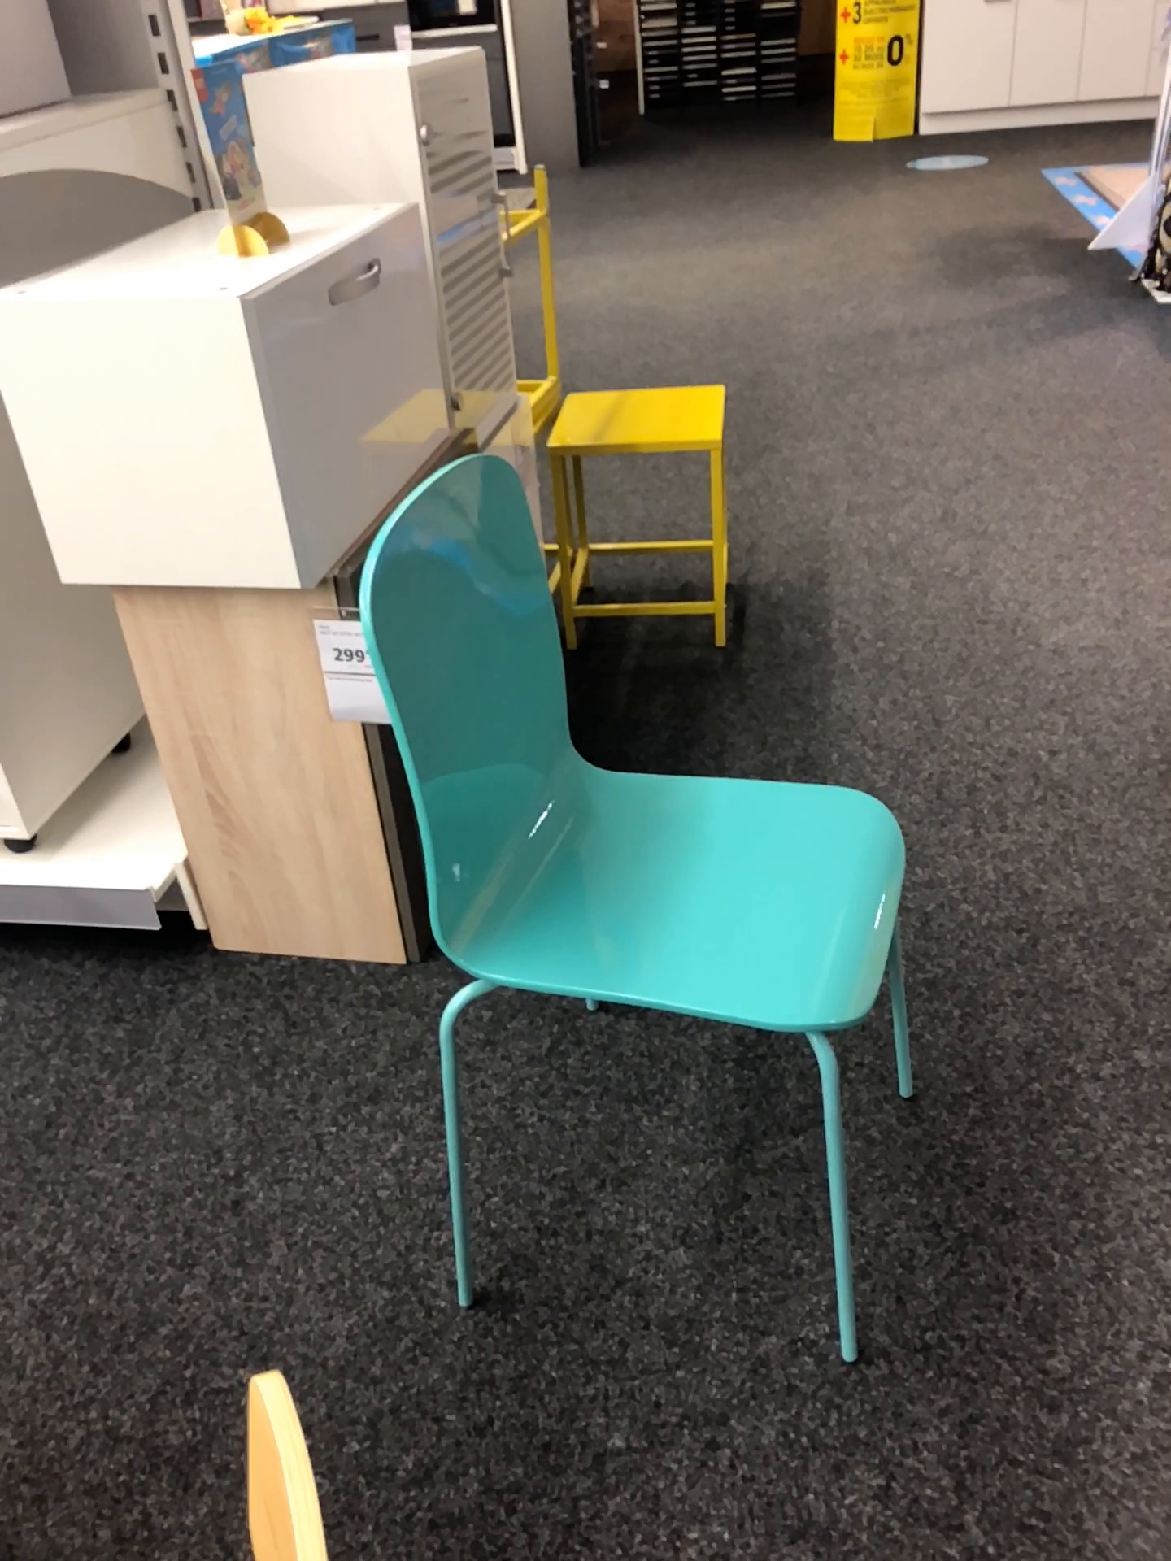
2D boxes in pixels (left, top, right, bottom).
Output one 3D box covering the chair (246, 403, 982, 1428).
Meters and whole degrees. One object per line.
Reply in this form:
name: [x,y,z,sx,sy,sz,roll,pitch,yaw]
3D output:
chair: [0.095,0.123,1.314,0.500,0.865,0.493,6,34,18]
